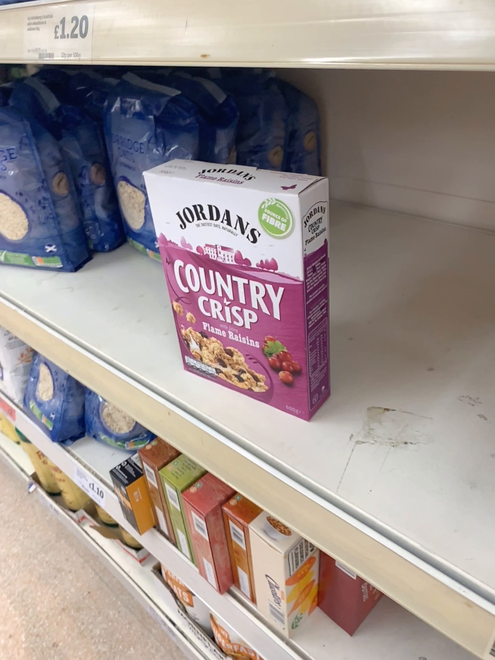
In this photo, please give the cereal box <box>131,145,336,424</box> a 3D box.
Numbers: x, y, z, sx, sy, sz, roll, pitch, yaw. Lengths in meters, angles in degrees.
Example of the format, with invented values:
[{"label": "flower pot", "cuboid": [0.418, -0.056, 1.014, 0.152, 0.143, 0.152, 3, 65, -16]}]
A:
[{"label": "cereal box", "cuboid": [-0.009, -0.046, 0.519, 0.191, 0.248, 0.050, 18, 40, 32]}]
